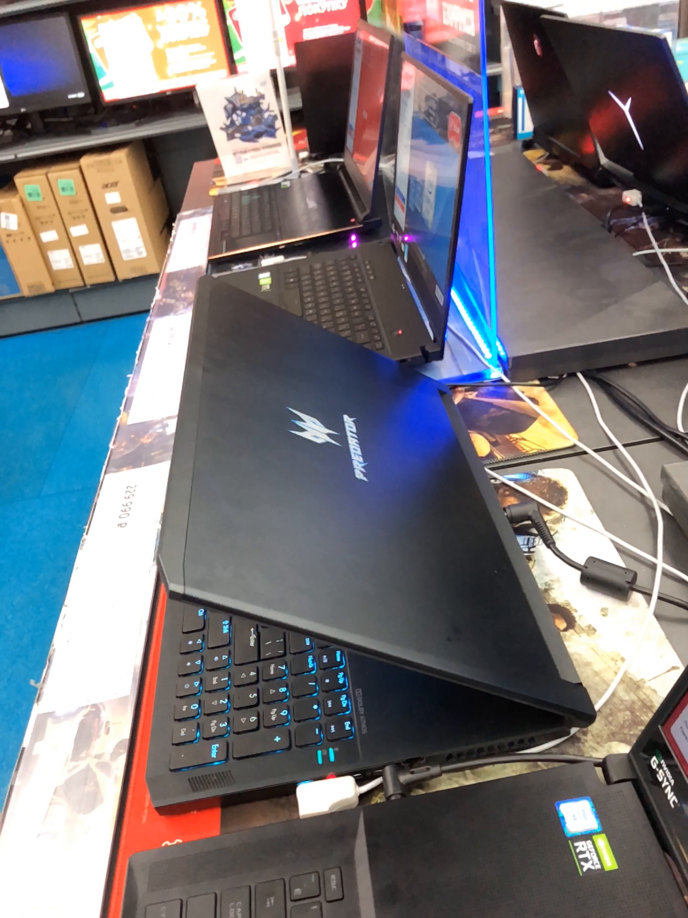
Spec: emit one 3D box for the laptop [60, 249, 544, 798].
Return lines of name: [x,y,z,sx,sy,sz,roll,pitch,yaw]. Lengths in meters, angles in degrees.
laptop: [-0.026,0.006,0.541,0.226,0.152,0.372,-11,34,1]

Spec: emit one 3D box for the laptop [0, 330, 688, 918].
laptop: [0.057,0.189,0.176,0.362,0.235,0.373,-10,34,1]
